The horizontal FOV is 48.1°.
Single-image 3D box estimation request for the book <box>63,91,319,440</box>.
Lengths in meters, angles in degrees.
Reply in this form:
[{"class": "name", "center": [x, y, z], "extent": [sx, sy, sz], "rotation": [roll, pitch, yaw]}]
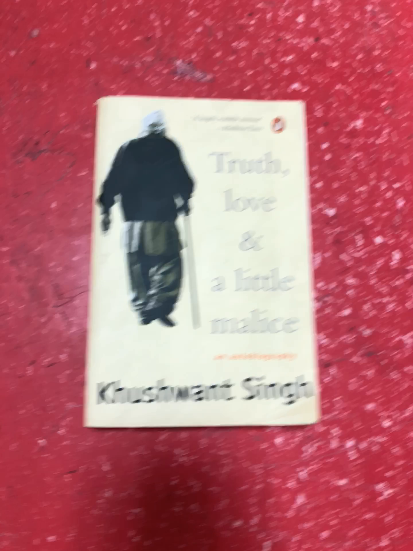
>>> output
[{"class": "book", "center": [-0.008, -0.009, 0.294], "extent": [0.140, 0.040, 0.210], "rotation": [0, 79, -2]}]
